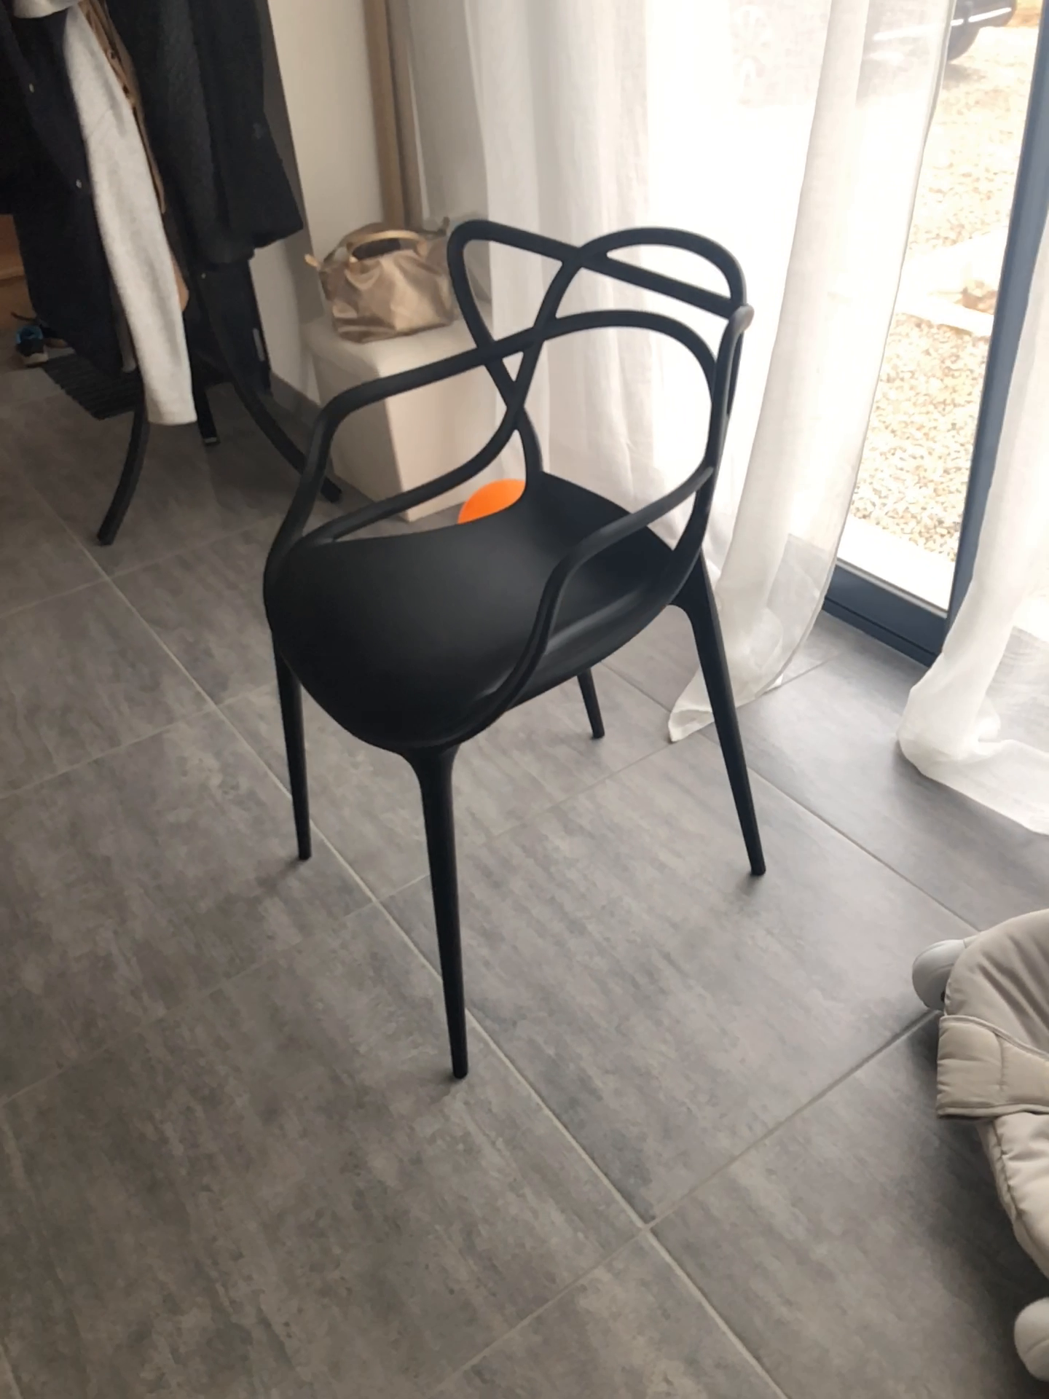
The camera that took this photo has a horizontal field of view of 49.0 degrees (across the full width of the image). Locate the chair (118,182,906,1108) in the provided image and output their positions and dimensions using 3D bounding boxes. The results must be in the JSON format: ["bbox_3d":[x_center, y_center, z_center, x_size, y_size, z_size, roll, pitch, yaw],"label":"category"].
[{"bbox_3d":[-0.011,-0.099,1.383,0.587,0.795,0.564,-23,39,-23],"label":"chair"}]
